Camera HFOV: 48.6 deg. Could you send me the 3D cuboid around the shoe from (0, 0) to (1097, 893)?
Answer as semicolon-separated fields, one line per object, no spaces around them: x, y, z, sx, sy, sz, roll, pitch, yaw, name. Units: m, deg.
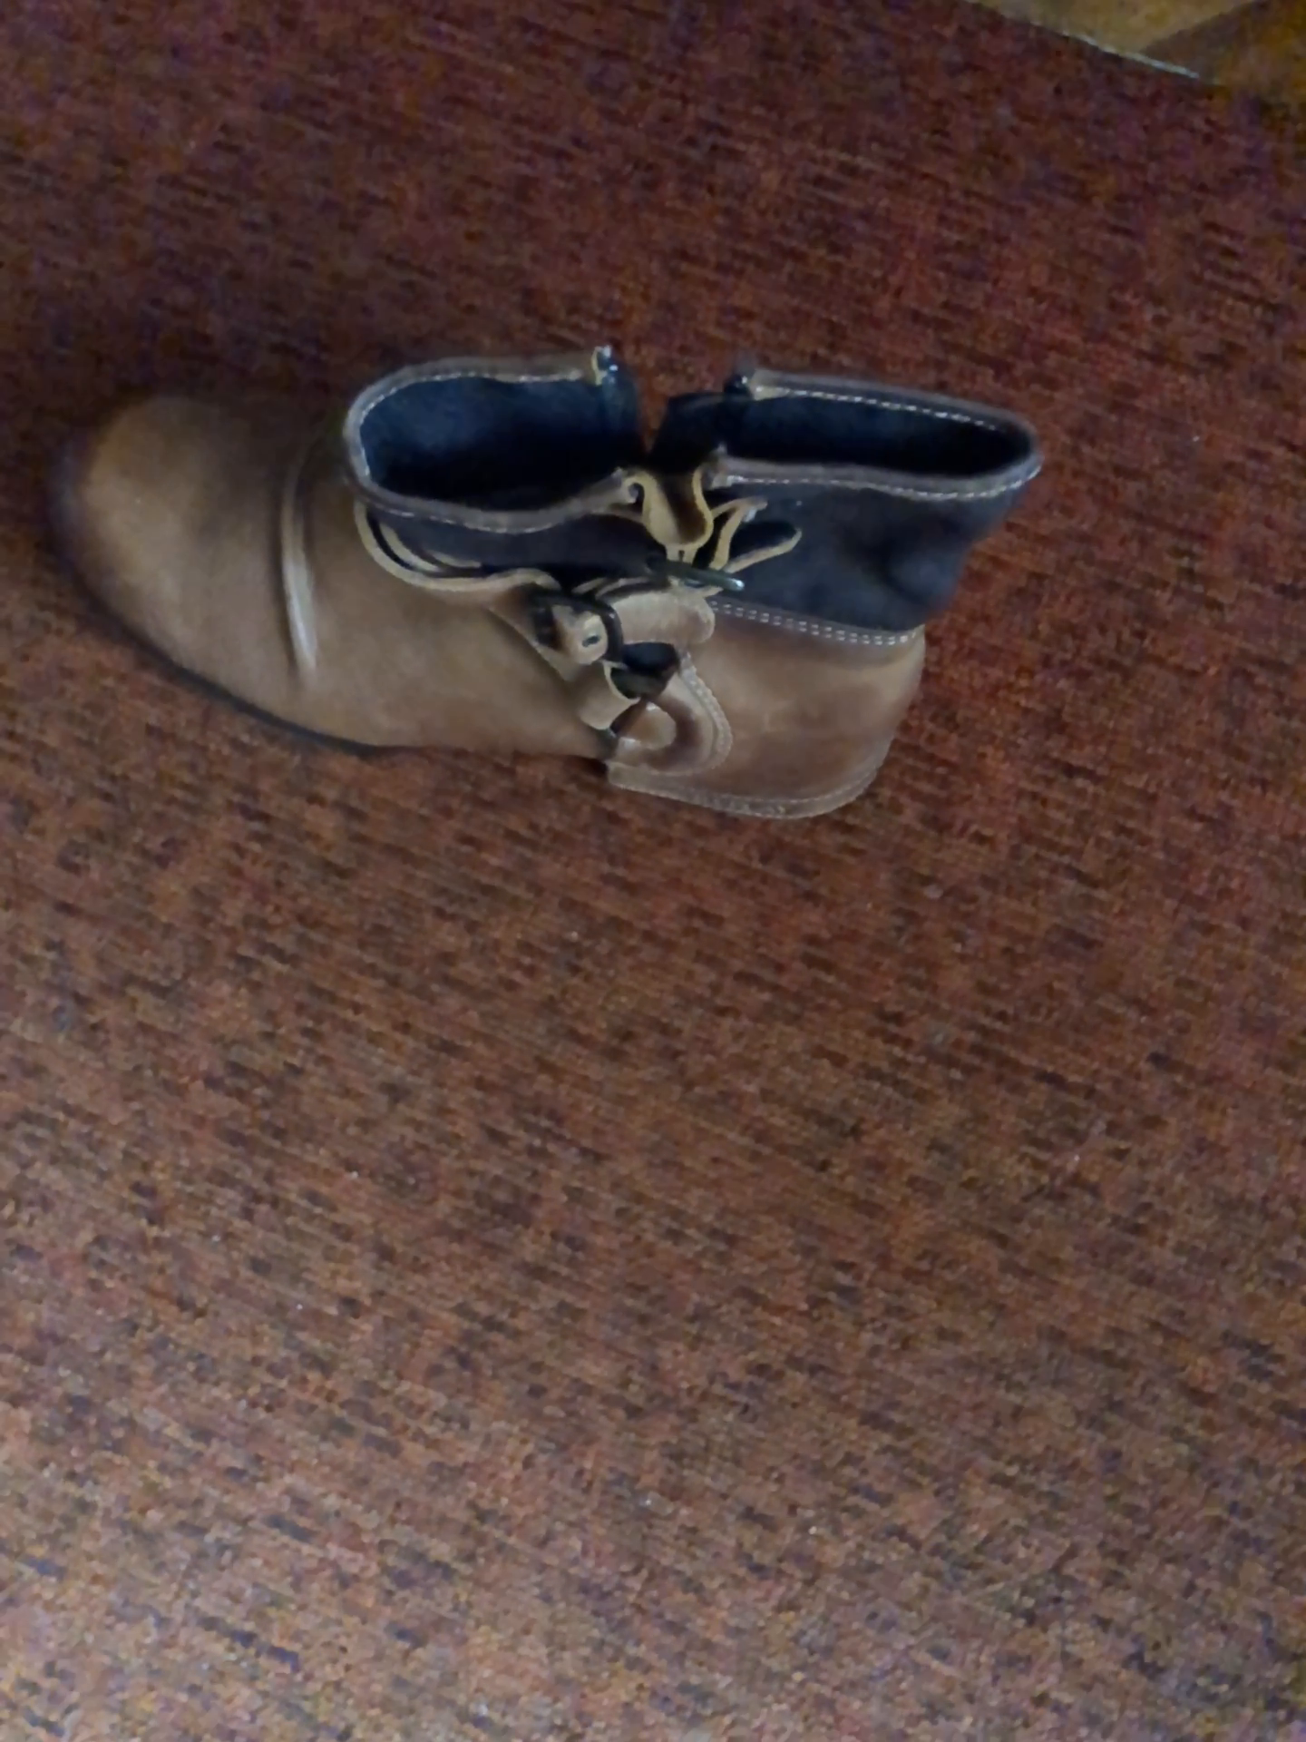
-0.056;-0.101;0.392;0.280;0.190;0.110;15;79;4;shoe
